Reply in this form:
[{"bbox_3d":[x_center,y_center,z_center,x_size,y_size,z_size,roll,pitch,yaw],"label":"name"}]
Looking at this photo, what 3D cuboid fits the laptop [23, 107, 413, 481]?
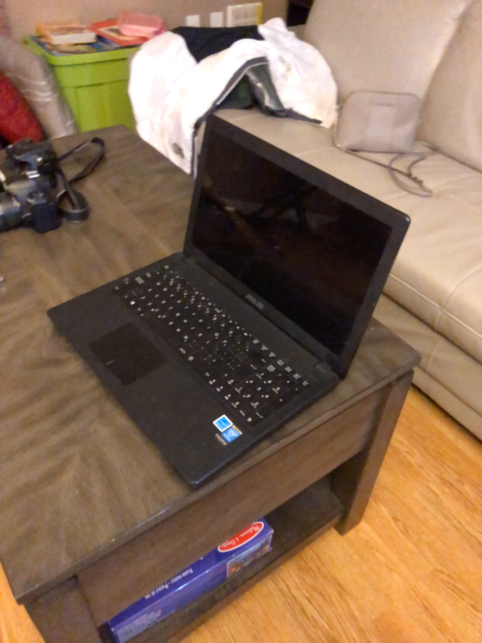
[{"bbox_3d":[-0.039,-0.071,0.698,0.316,0.216,0.357,-30,52,-28],"label":"laptop"}]
